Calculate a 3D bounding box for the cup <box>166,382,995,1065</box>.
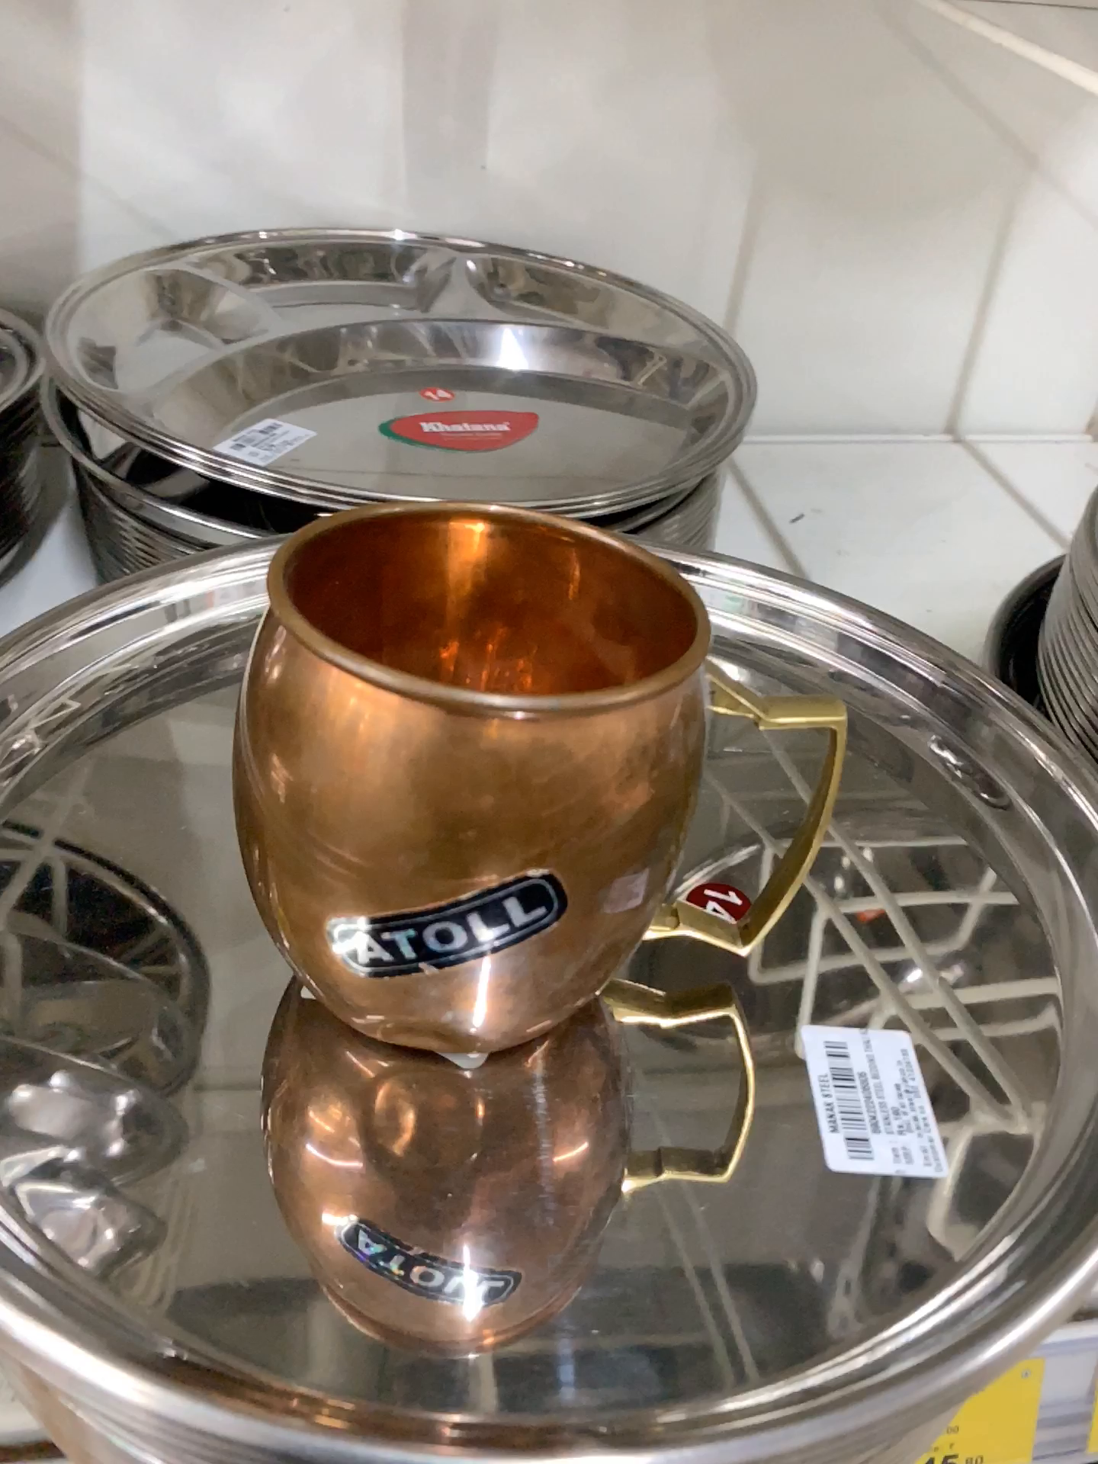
[{"bbox_3d":[0.000,-0.002,0.225,0.120,0.090,0.090,5,38,-5],"label":"cup"}]
